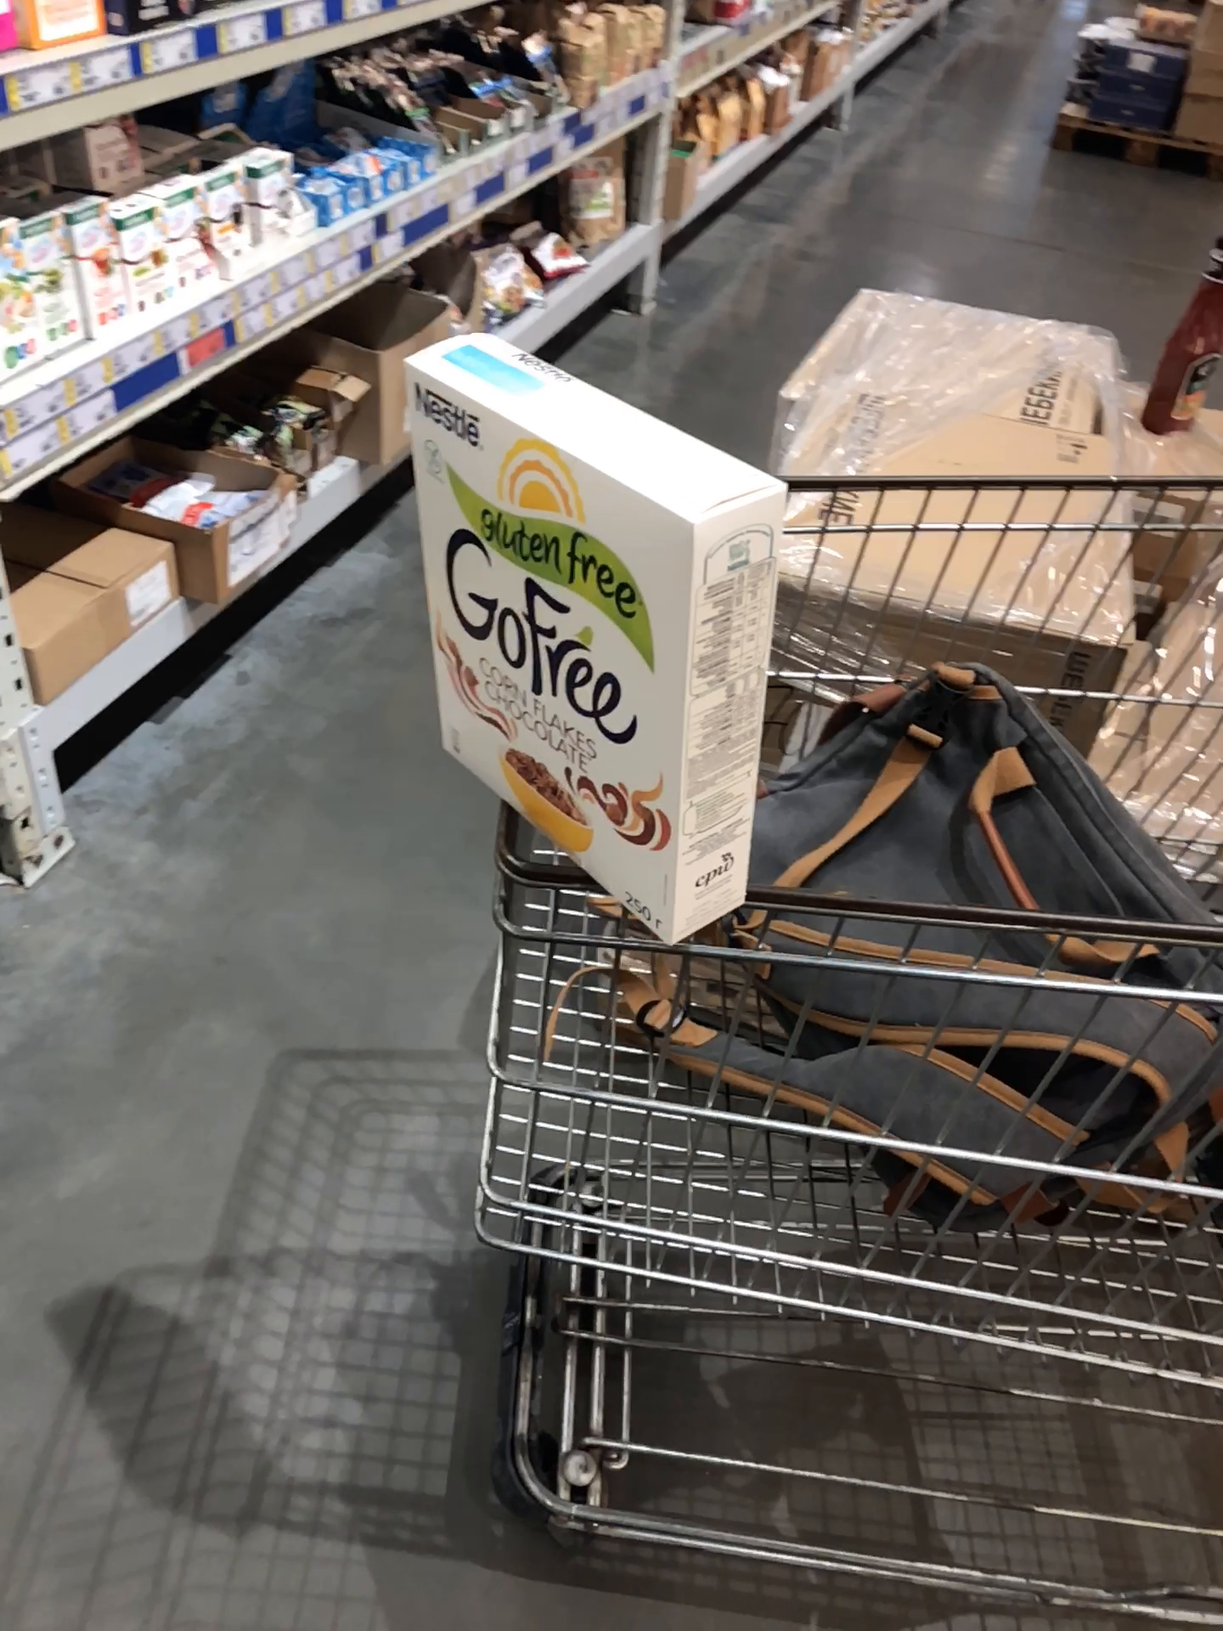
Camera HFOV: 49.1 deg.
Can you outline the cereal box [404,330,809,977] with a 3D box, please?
[{"bbox_3d":[-0.011,-0.074,0.615,0.050,0.228,0.201,-27,47,-30],"label":"cereal box"}]
